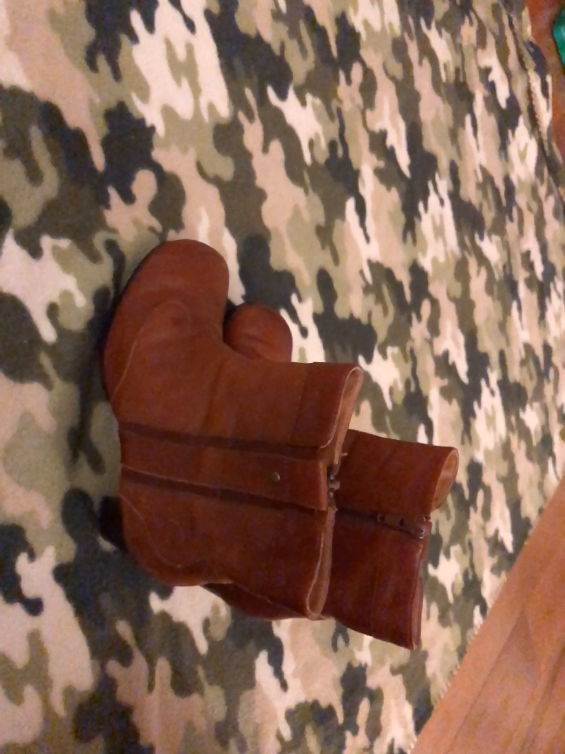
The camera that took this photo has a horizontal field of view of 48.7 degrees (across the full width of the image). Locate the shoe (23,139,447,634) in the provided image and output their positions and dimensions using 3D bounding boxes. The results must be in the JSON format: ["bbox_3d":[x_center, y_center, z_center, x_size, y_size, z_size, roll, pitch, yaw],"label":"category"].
[{"bbox_3d":[-0.028,0.007,0.365,0.090,0.189,0.220,31,66,-41],"label":"shoe"}]

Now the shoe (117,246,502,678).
[{"bbox_3d":[0.018,0.048,0.411,0.090,0.189,0.220,34,64,-40],"label":"shoe"}]
